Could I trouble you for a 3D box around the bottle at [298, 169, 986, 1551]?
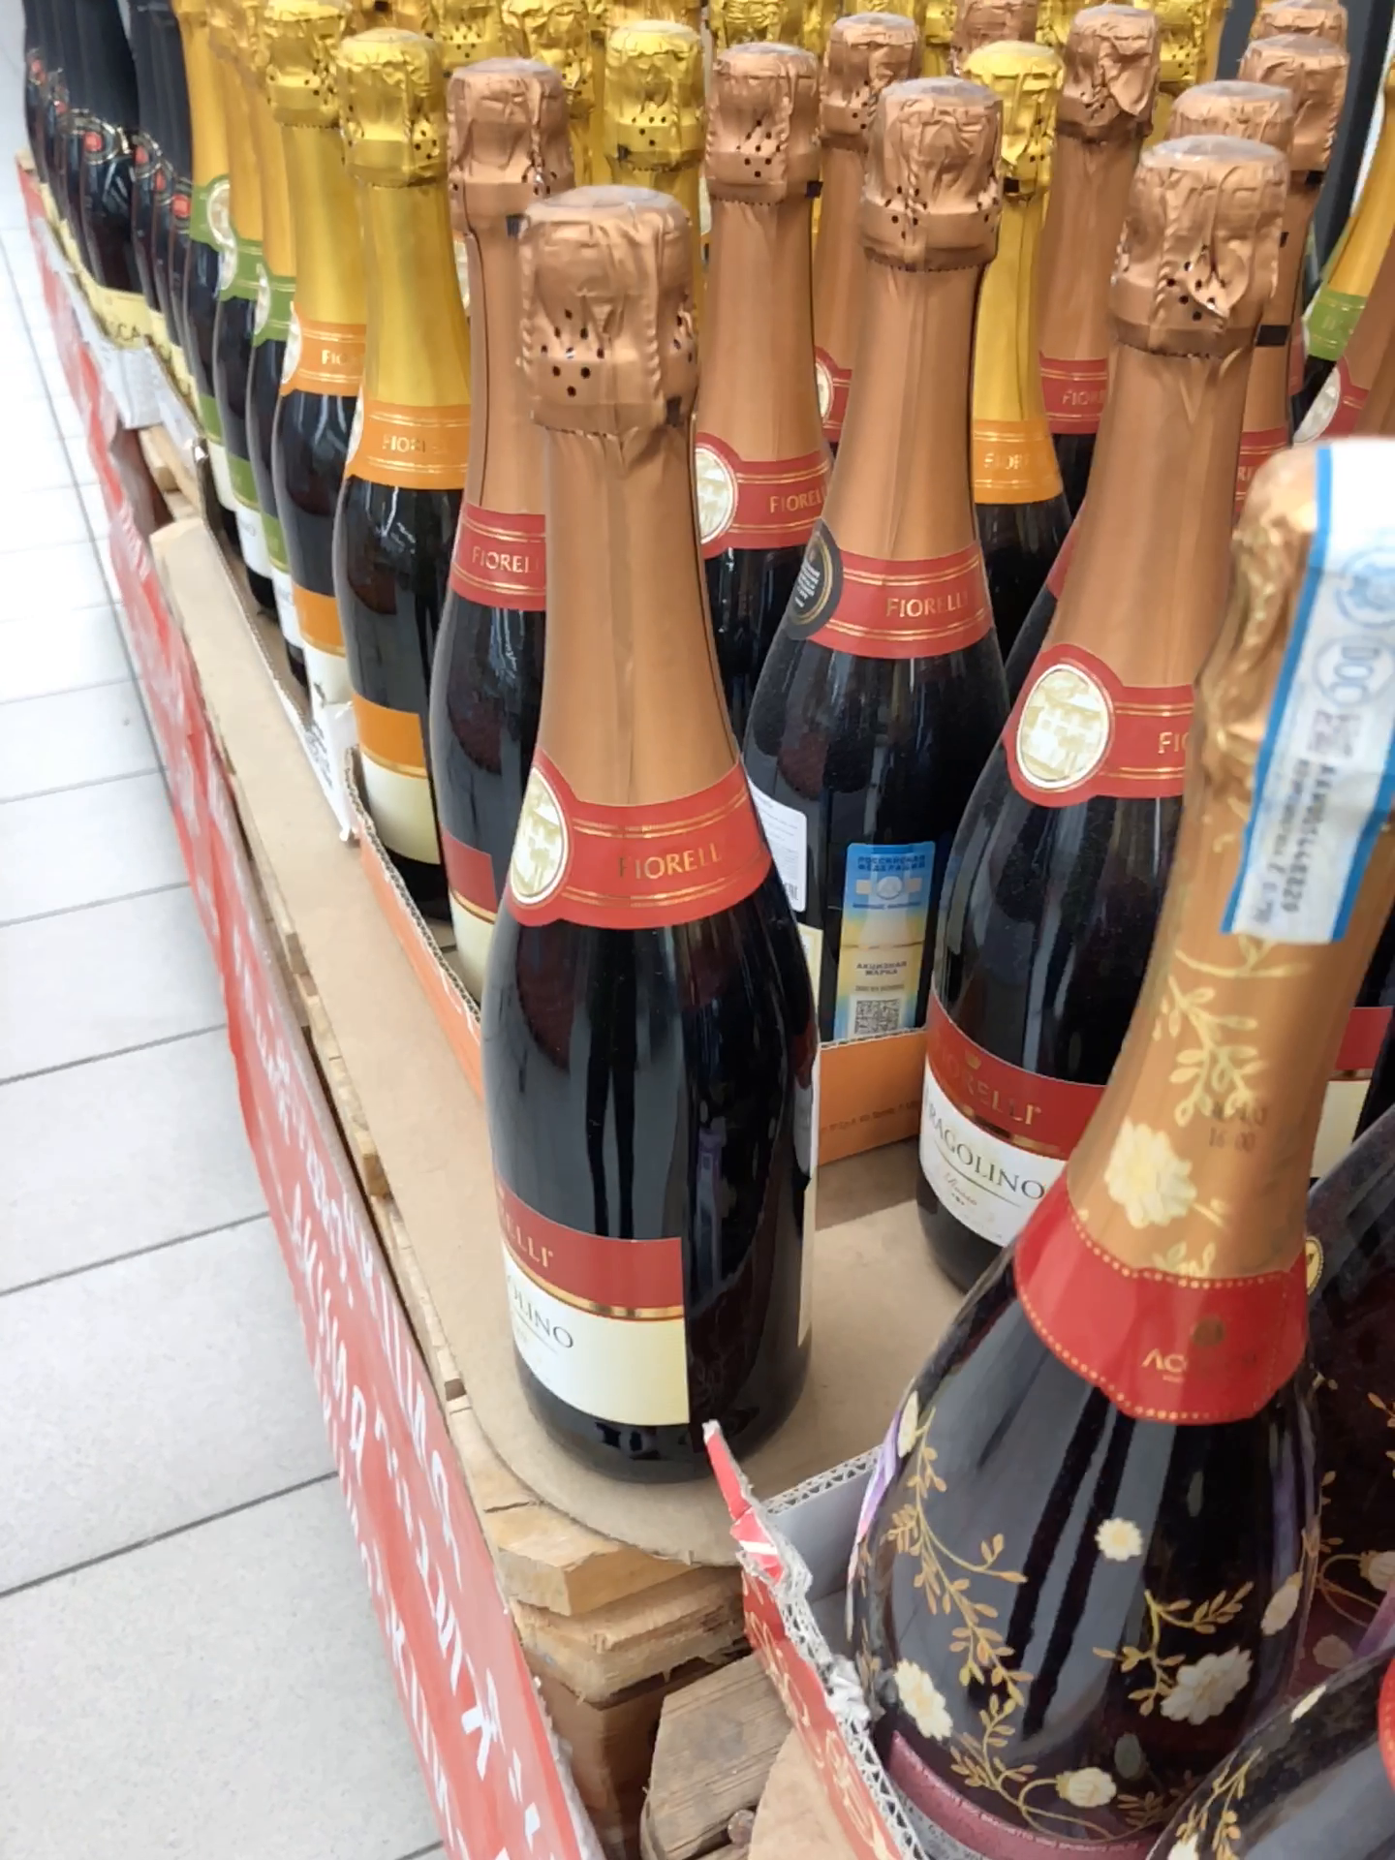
[{"bbox_3d":[-0.013,0.001,0.353,0.090,0.298,0.090,0,36,0],"label":"bottle"}]
